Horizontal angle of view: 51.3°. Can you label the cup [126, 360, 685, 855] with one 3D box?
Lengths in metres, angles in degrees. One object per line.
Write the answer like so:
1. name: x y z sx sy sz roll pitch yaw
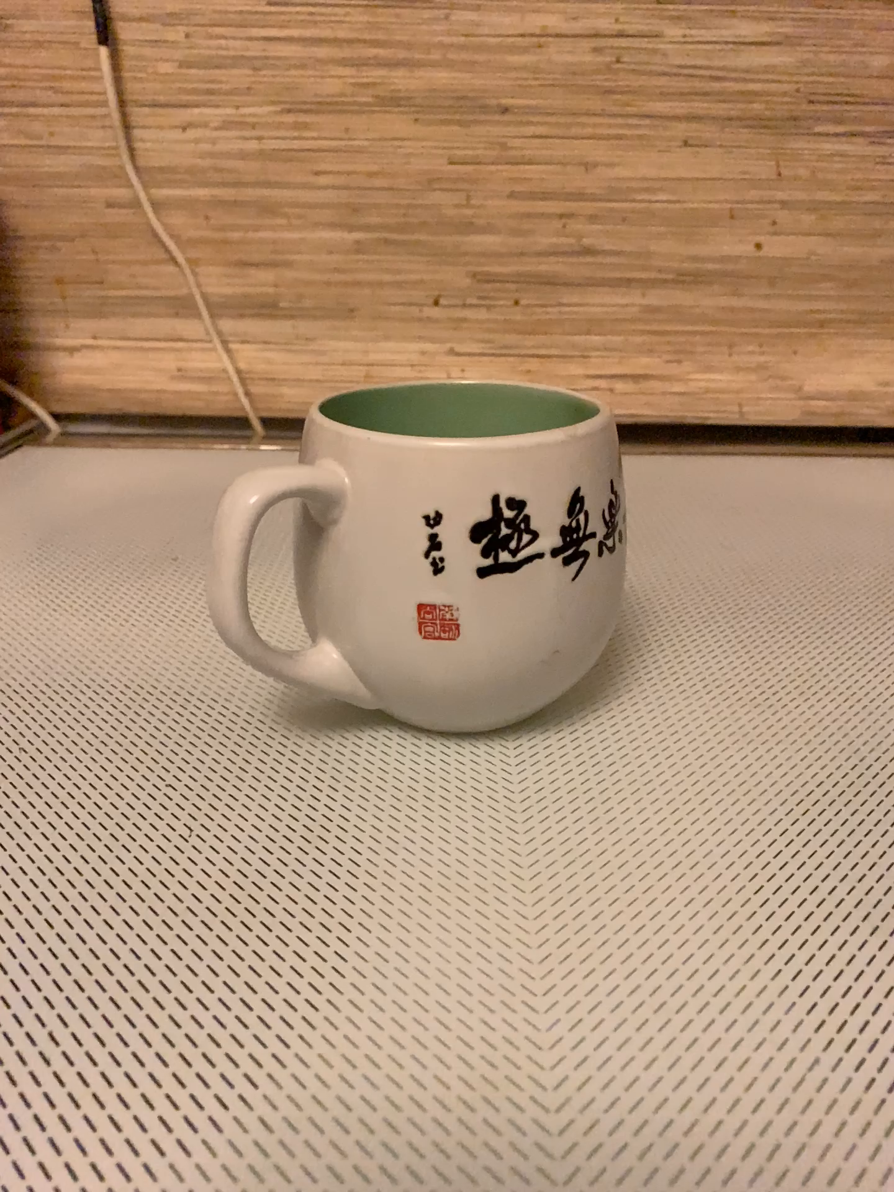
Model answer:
1. cup: -0.008 -0.011 0.266 0.088 0.091 0.124 20 28 39
